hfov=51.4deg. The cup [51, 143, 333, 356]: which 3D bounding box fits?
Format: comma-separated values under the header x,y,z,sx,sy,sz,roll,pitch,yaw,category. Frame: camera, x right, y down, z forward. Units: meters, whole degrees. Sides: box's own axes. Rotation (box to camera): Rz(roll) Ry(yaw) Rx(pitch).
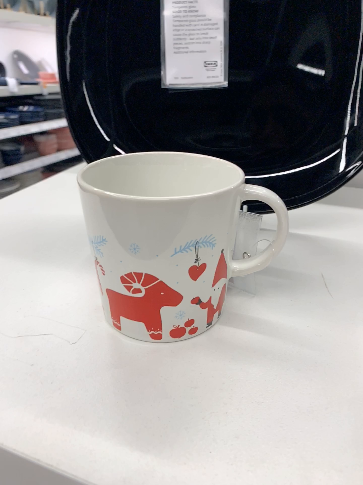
x,y,z,sx,sy,sz,roll,pitch,yaw,category
0.002,-0.003,0.219,0.120,0.090,0.090,-1,25,-4,cup
